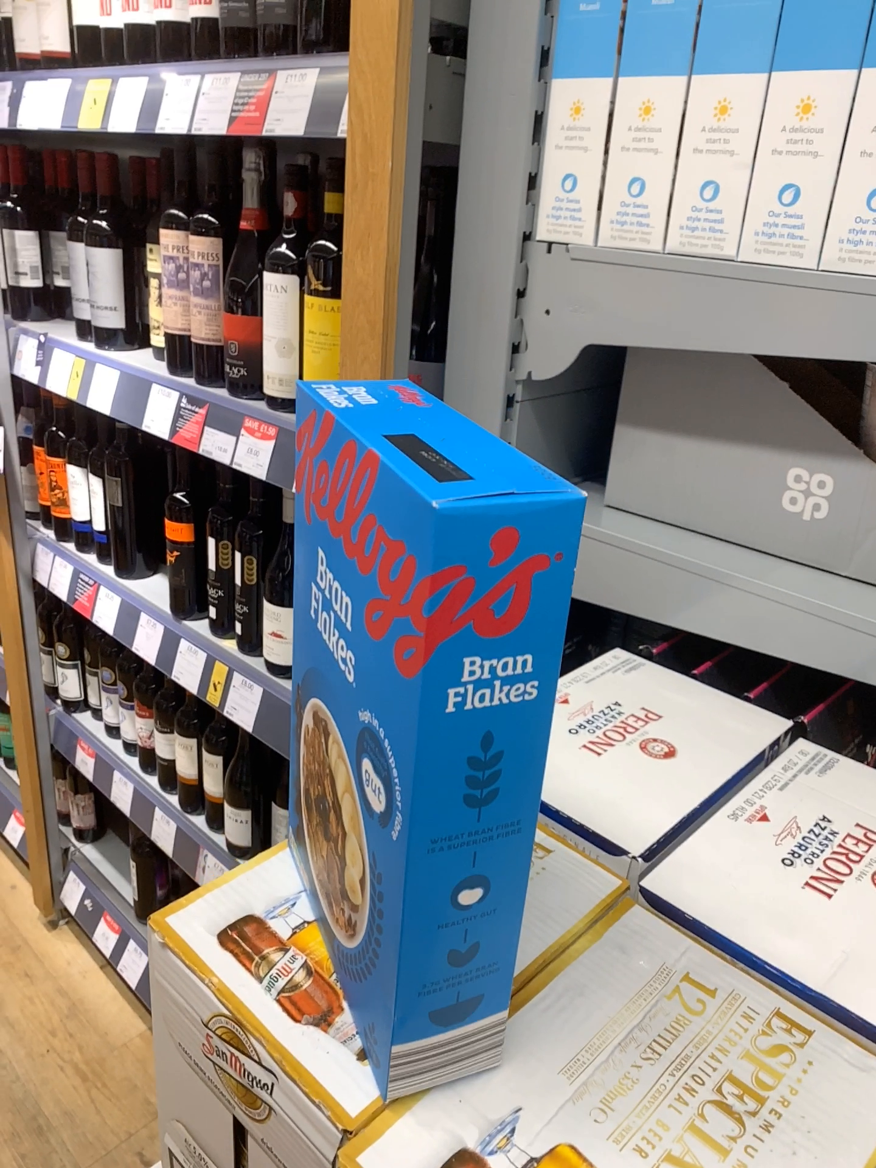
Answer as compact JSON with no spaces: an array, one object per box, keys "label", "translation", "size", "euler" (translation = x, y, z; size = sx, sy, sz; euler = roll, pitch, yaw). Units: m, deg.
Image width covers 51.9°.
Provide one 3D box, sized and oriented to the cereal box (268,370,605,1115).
[{"label":"cereal box","translation":[-0.025,0.062,0.442],"size":[0.070,0.288,0.202],"euler":[-5,26,-23]}]
